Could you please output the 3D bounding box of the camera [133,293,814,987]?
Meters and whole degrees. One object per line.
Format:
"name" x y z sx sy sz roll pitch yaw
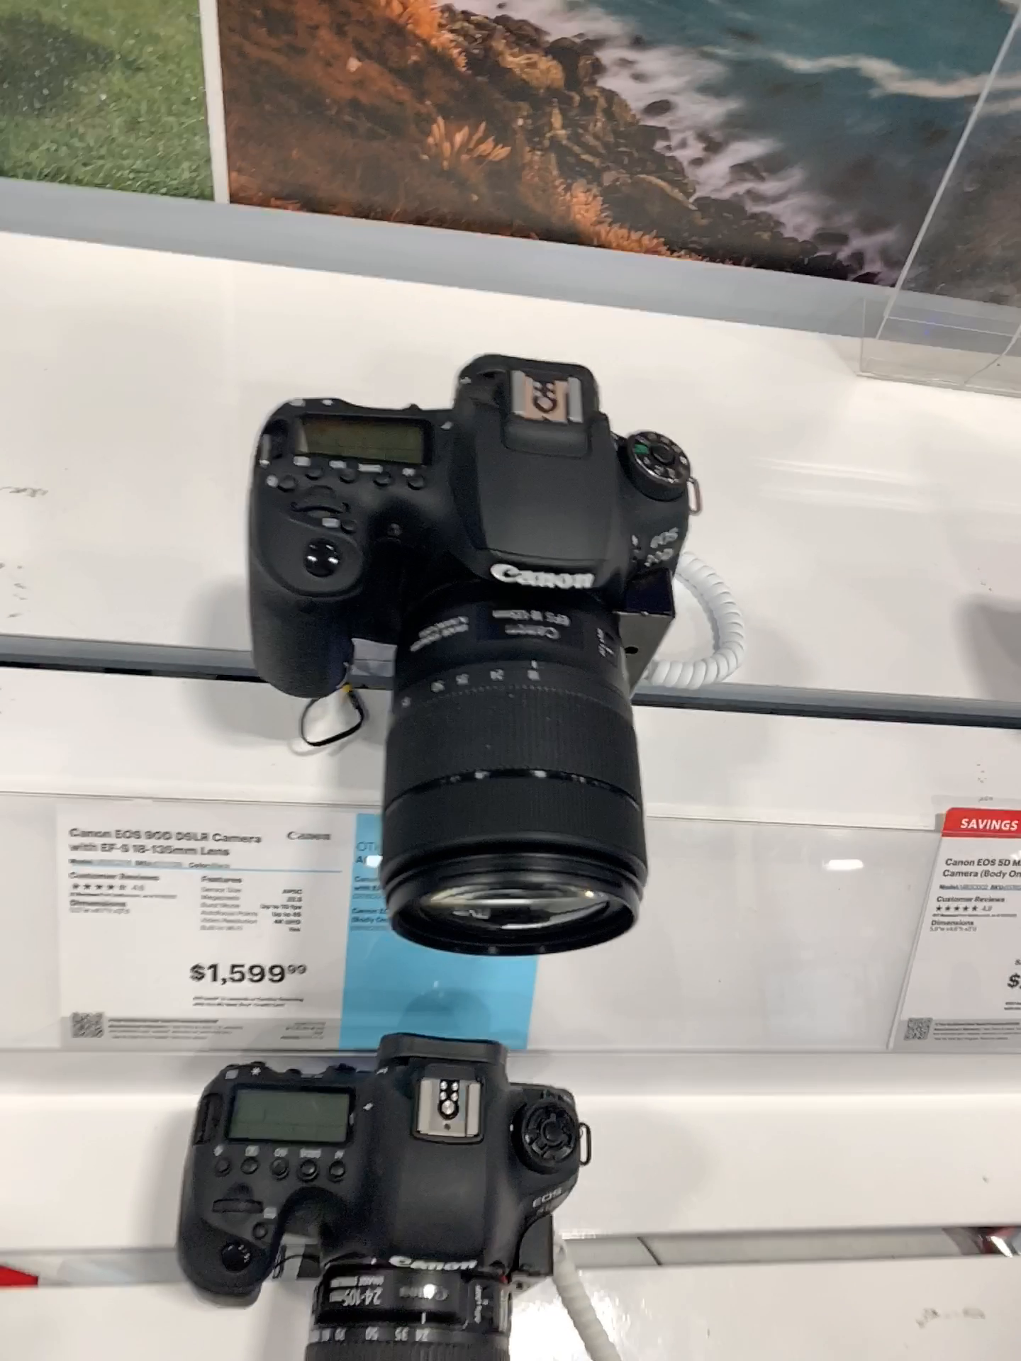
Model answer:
"camera" -0.015 -0.009 0.315 0.148 0.105 0.170 3 58 -8
